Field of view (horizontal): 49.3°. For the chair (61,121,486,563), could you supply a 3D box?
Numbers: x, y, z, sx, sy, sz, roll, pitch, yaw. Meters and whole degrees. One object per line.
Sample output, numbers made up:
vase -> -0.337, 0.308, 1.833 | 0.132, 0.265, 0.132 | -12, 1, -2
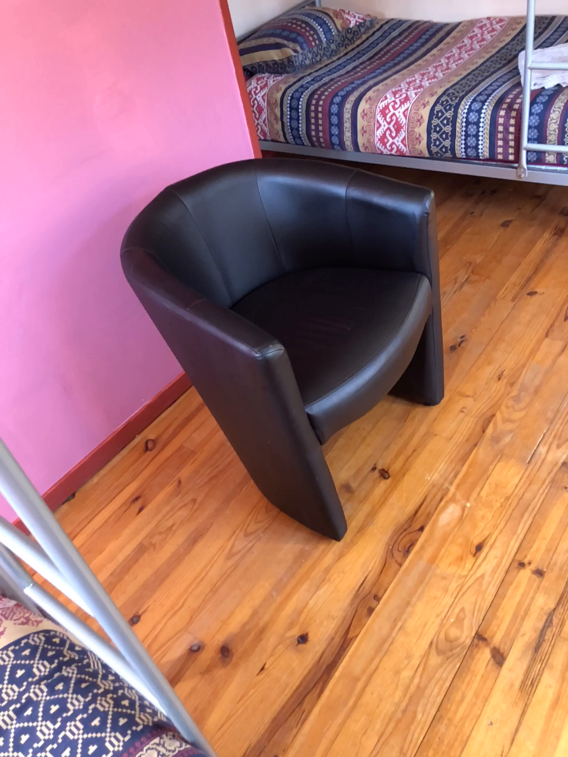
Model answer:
chair -> 0.047, -0.132, 1.462 | 0.591, 0.647, 0.673 | 20, 51, 33
